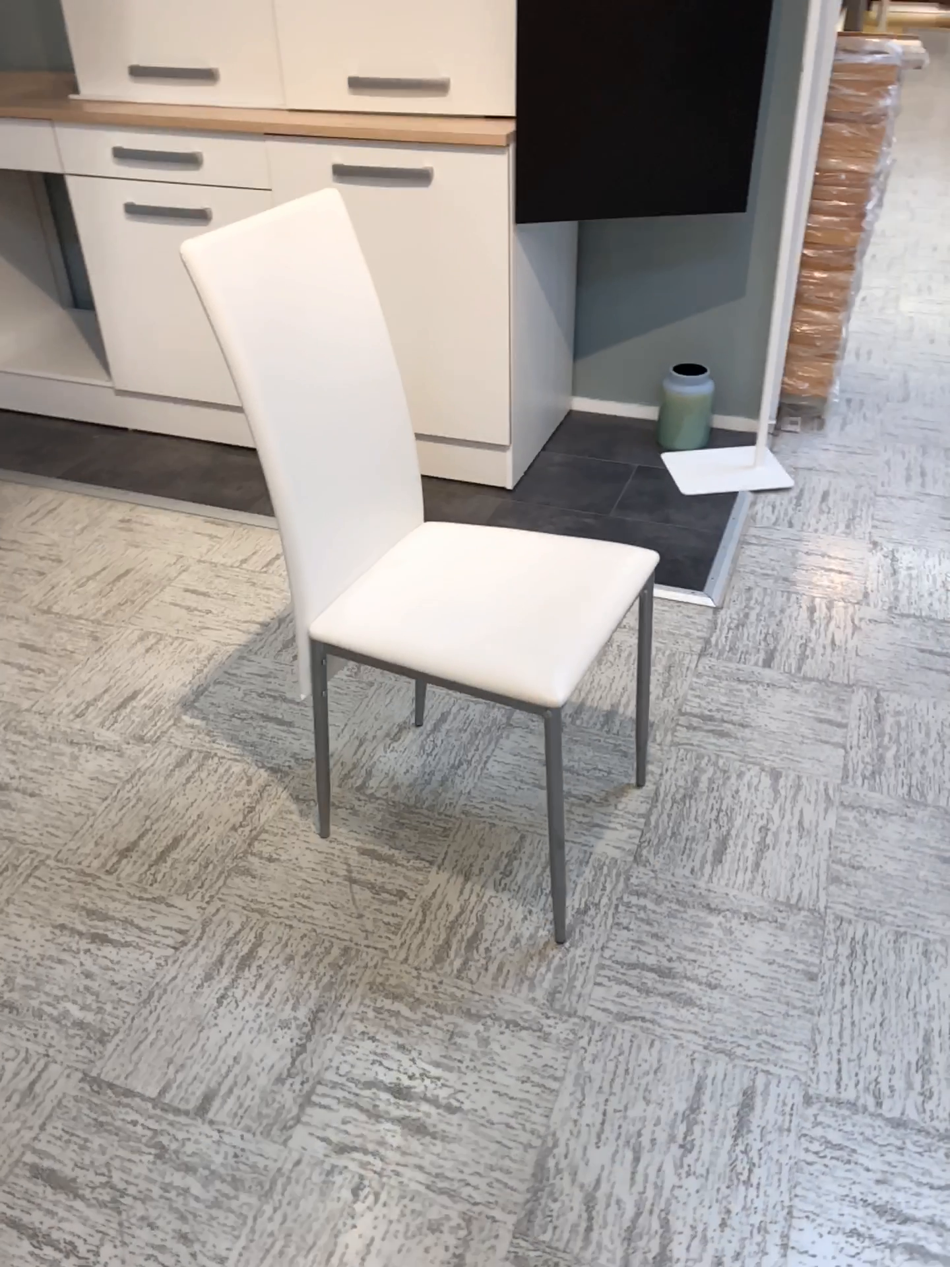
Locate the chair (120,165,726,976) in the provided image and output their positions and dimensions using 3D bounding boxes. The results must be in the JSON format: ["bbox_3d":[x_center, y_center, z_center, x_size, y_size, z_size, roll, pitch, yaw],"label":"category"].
[{"bbox_3d":[-0.036,-0.095,1.477,0.550,0.944,0.473,15,37,23],"label":"chair"}]
